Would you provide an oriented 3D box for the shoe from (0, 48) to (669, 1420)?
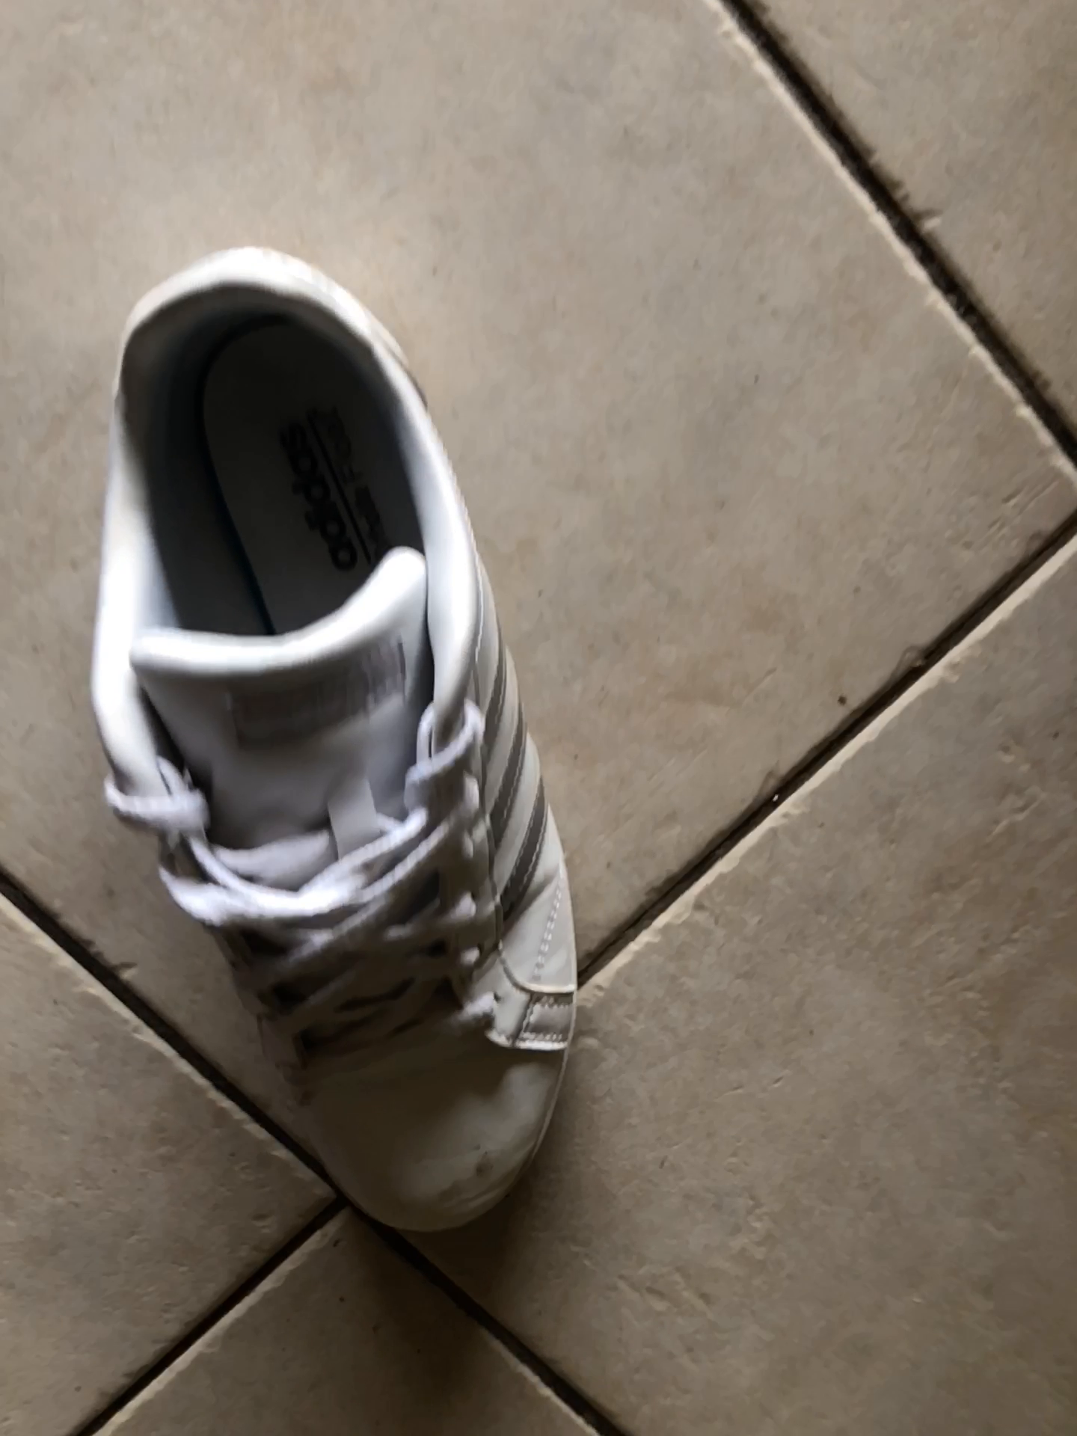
[{"bbox_3d":[-0.045,0.008,0.292,0.090,0.100,0.270,-12,101,-4],"label":"shoe"}]
